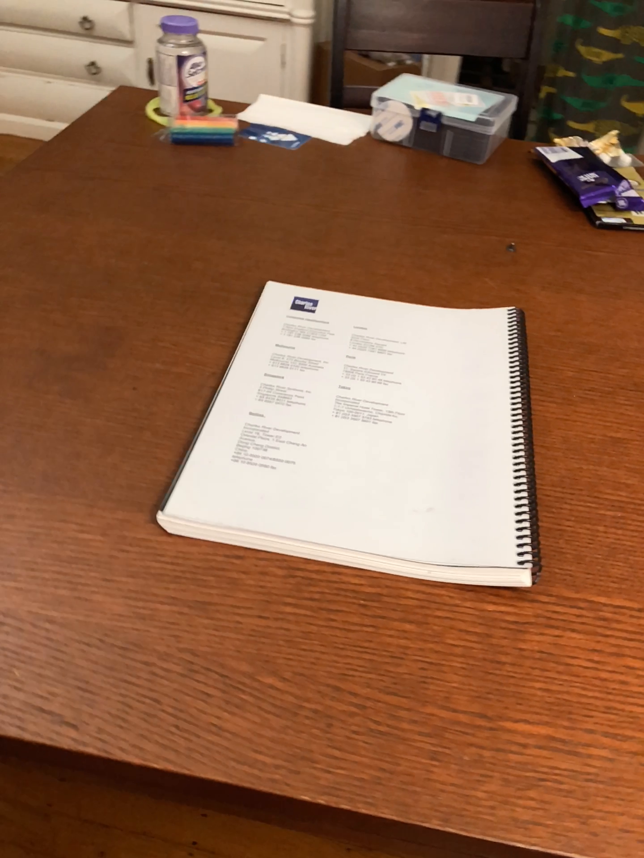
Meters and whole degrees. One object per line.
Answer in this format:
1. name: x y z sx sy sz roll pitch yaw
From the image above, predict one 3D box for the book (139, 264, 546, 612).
1. book: 0.033 -0.021 0.514 0.230 0.020 0.302 9 42 5
